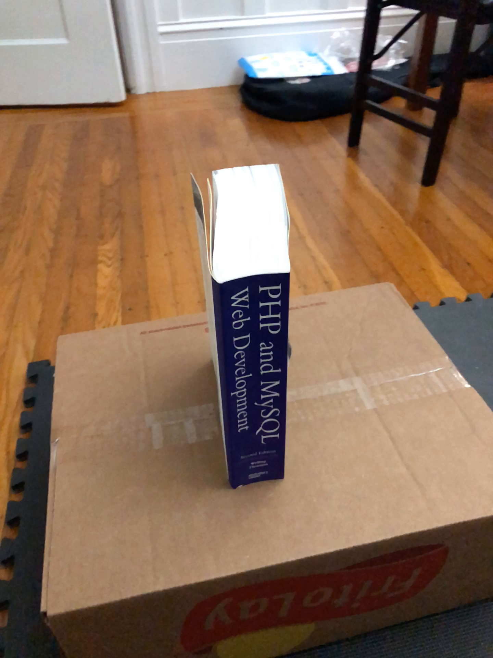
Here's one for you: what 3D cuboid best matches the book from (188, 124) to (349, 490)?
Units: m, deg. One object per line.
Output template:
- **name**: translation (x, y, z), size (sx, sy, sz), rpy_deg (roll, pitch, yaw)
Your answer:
- **book**: translation (0.006, -0.021, 0.496), size (0.090, 0.258, 0.201), rpy_deg (-5, 39, -6)
